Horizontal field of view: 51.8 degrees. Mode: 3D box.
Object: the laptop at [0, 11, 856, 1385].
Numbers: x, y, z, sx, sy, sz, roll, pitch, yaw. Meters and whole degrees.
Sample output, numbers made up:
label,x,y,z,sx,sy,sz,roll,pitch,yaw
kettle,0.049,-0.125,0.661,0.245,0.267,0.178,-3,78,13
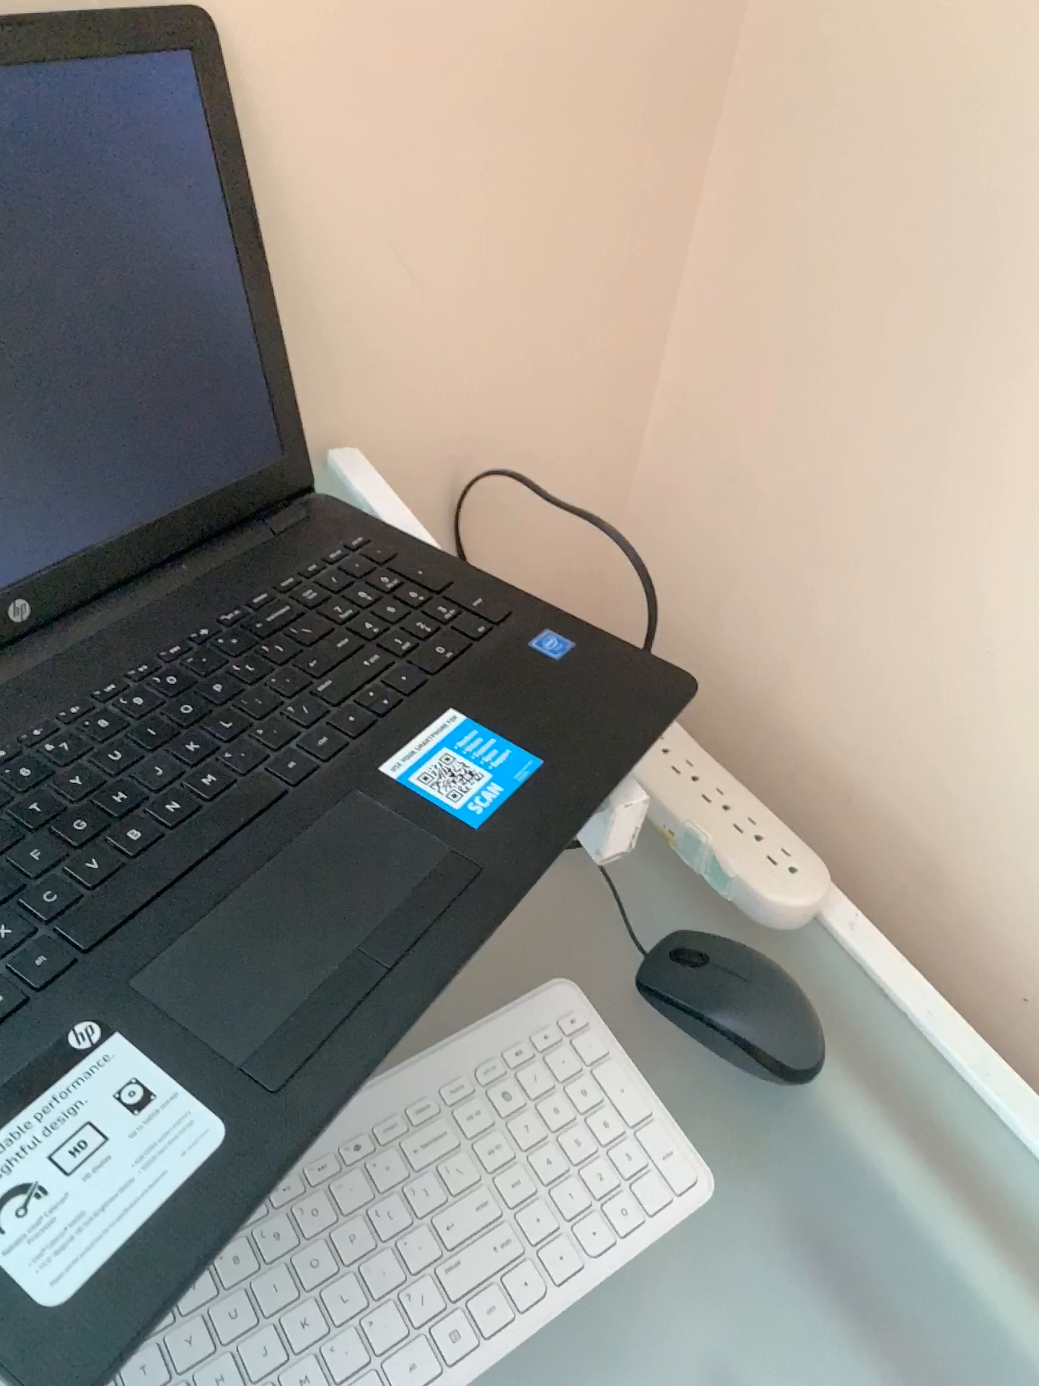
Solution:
label,x,y,z,sx,sy,sz,roll,pitch,yaw
laptop,-0.124,-0.064,0.364,0.307,0.222,0.366,27,42,20
